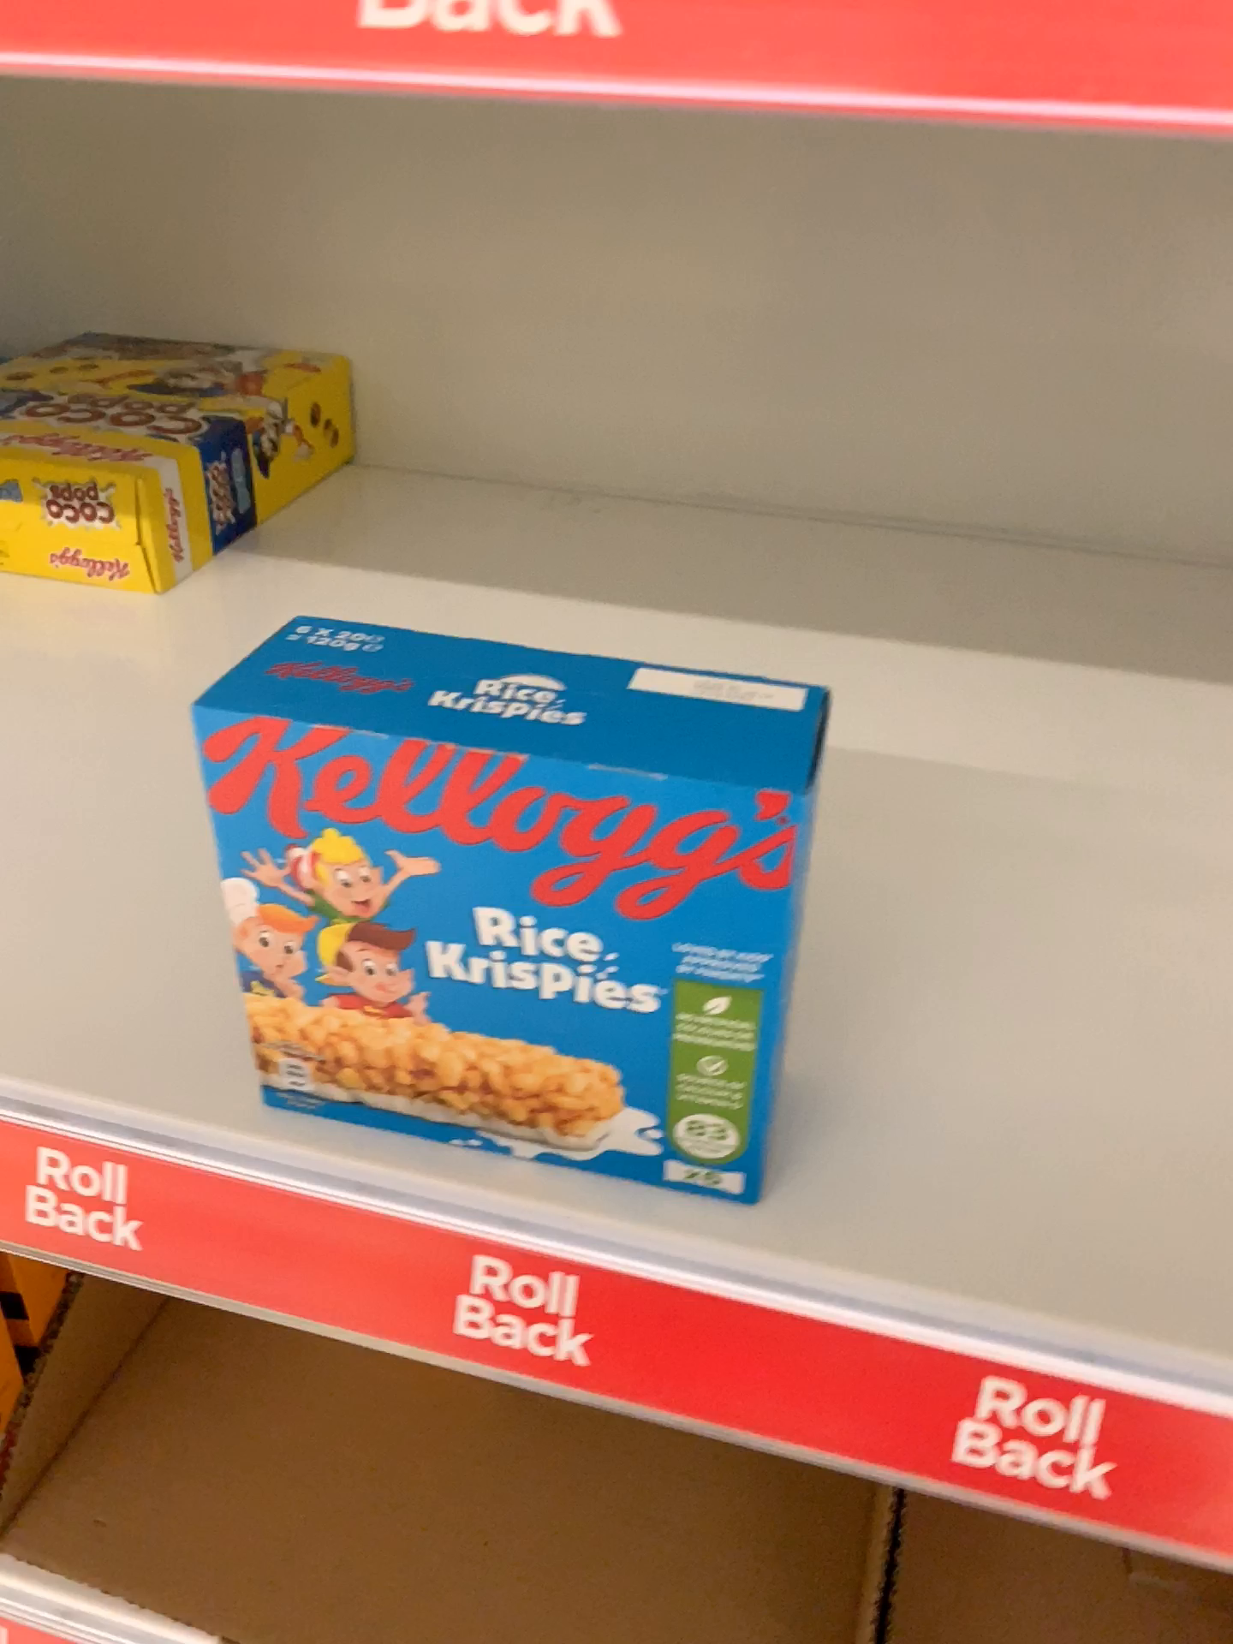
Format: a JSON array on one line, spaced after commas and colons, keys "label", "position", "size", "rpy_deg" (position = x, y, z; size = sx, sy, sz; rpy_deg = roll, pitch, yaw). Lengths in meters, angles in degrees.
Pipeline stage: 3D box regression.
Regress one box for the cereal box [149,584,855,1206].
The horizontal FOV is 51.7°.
[{"label": "cereal box", "position": [-0.026, 0.019, 0.321], "size": [0.150, 0.129, 0.050], "rpy_deg": [9, 34, 10]}]
